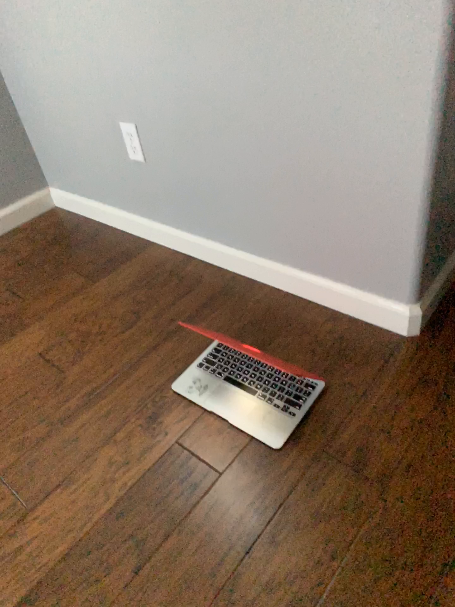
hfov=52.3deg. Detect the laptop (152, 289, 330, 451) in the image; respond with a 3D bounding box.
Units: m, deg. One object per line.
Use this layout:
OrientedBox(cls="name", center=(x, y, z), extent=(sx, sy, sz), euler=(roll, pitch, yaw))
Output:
OrientedBox(cls="laptop", center=(0.031, 0.125, 0.980), extent=(0.302, 0.139, 0.198), euler=(21, 49, 34))
